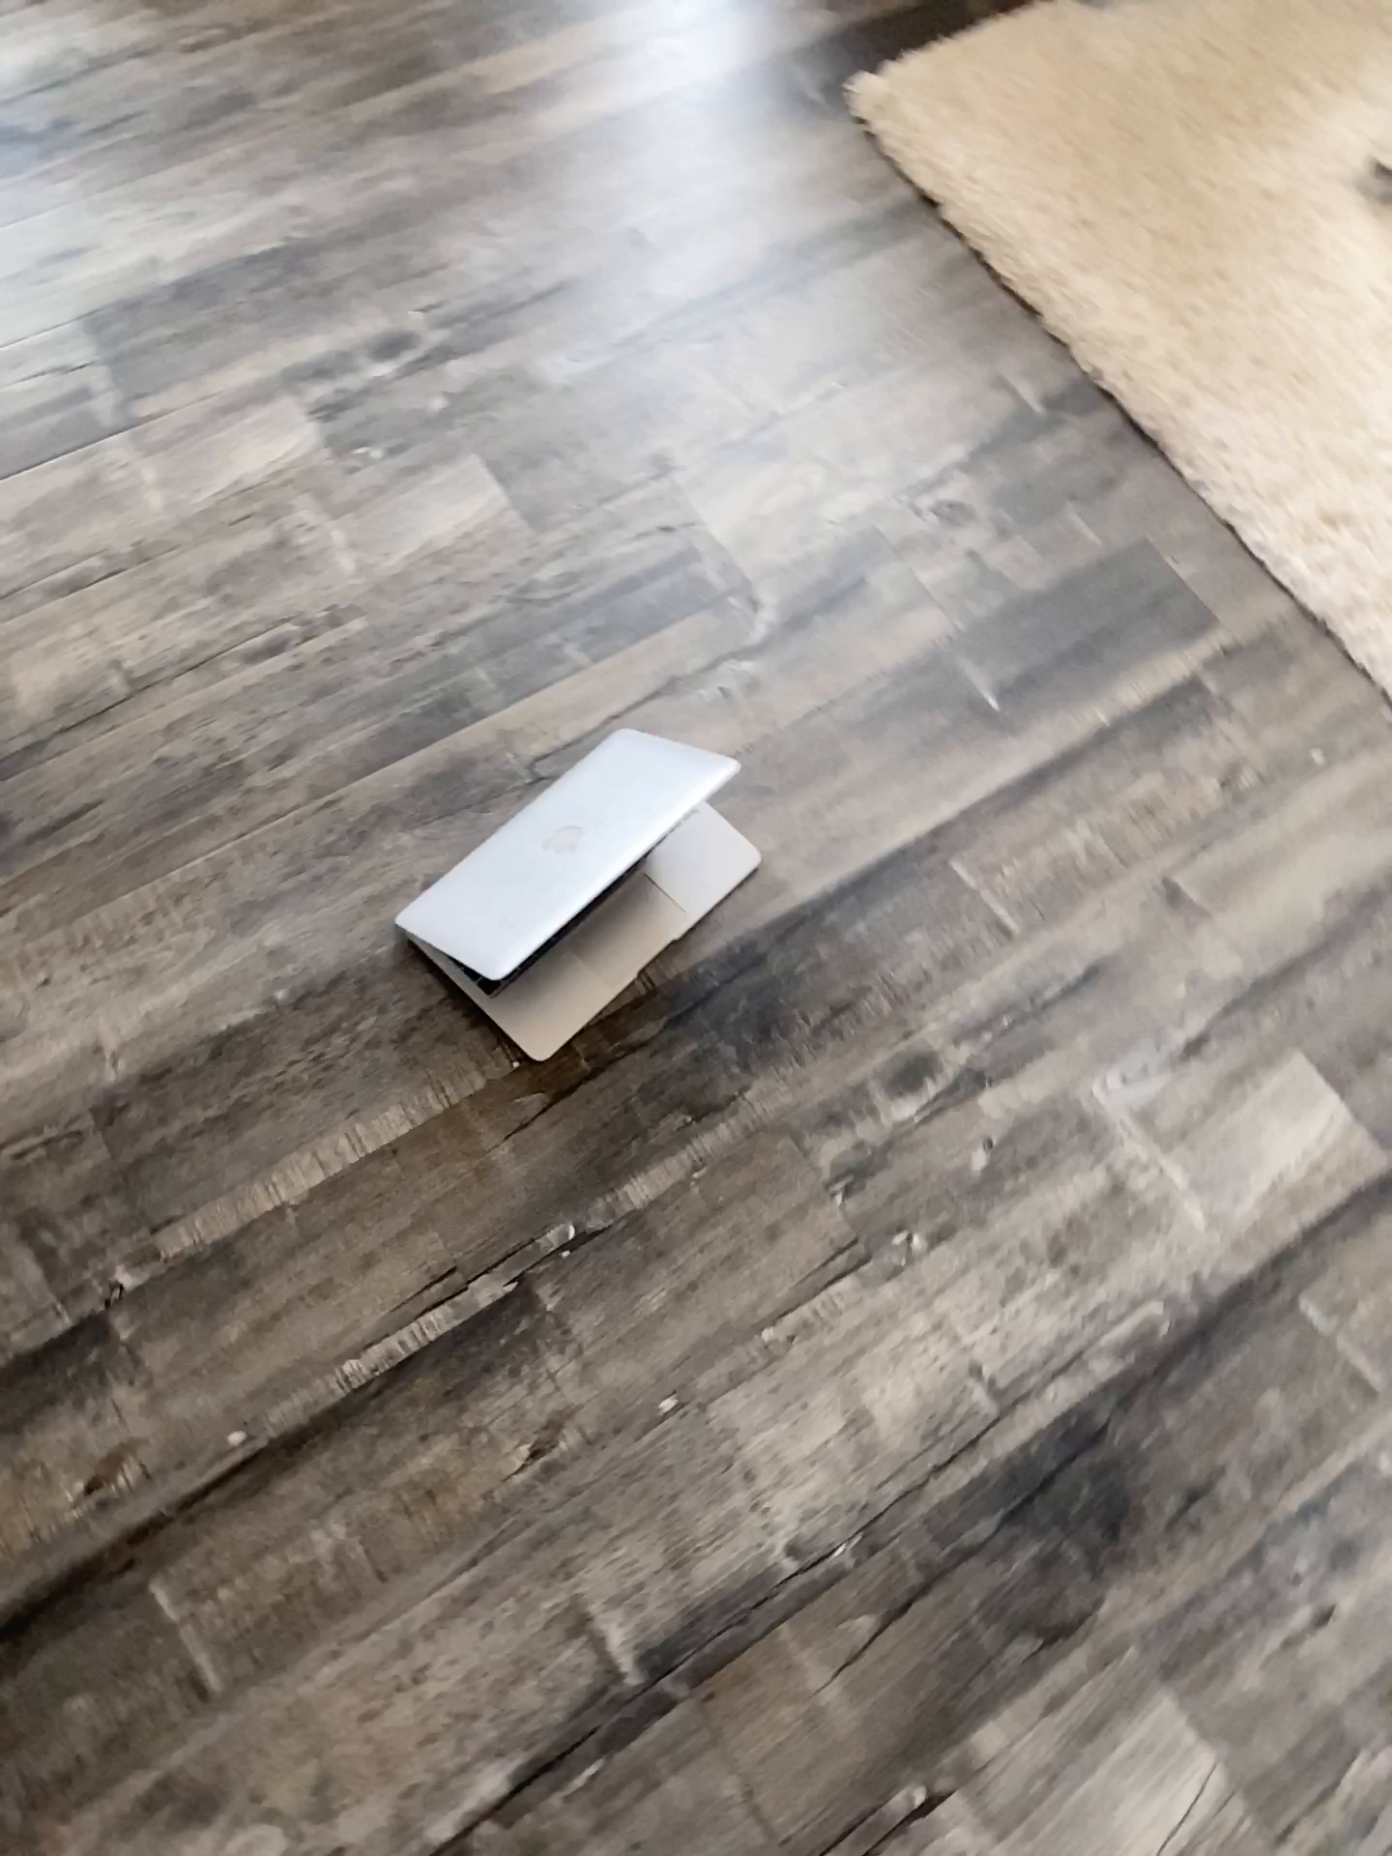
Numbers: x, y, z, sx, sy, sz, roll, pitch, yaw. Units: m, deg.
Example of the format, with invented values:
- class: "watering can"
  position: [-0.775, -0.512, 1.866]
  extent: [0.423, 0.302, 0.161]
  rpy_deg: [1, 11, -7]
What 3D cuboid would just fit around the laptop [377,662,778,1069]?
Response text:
- class: "laptop"
  position: [-0.092, -0.053, 1.148]
  extent: [0.173, 0.113, 0.270]
  rpy_deg: [42, 69, 14]
